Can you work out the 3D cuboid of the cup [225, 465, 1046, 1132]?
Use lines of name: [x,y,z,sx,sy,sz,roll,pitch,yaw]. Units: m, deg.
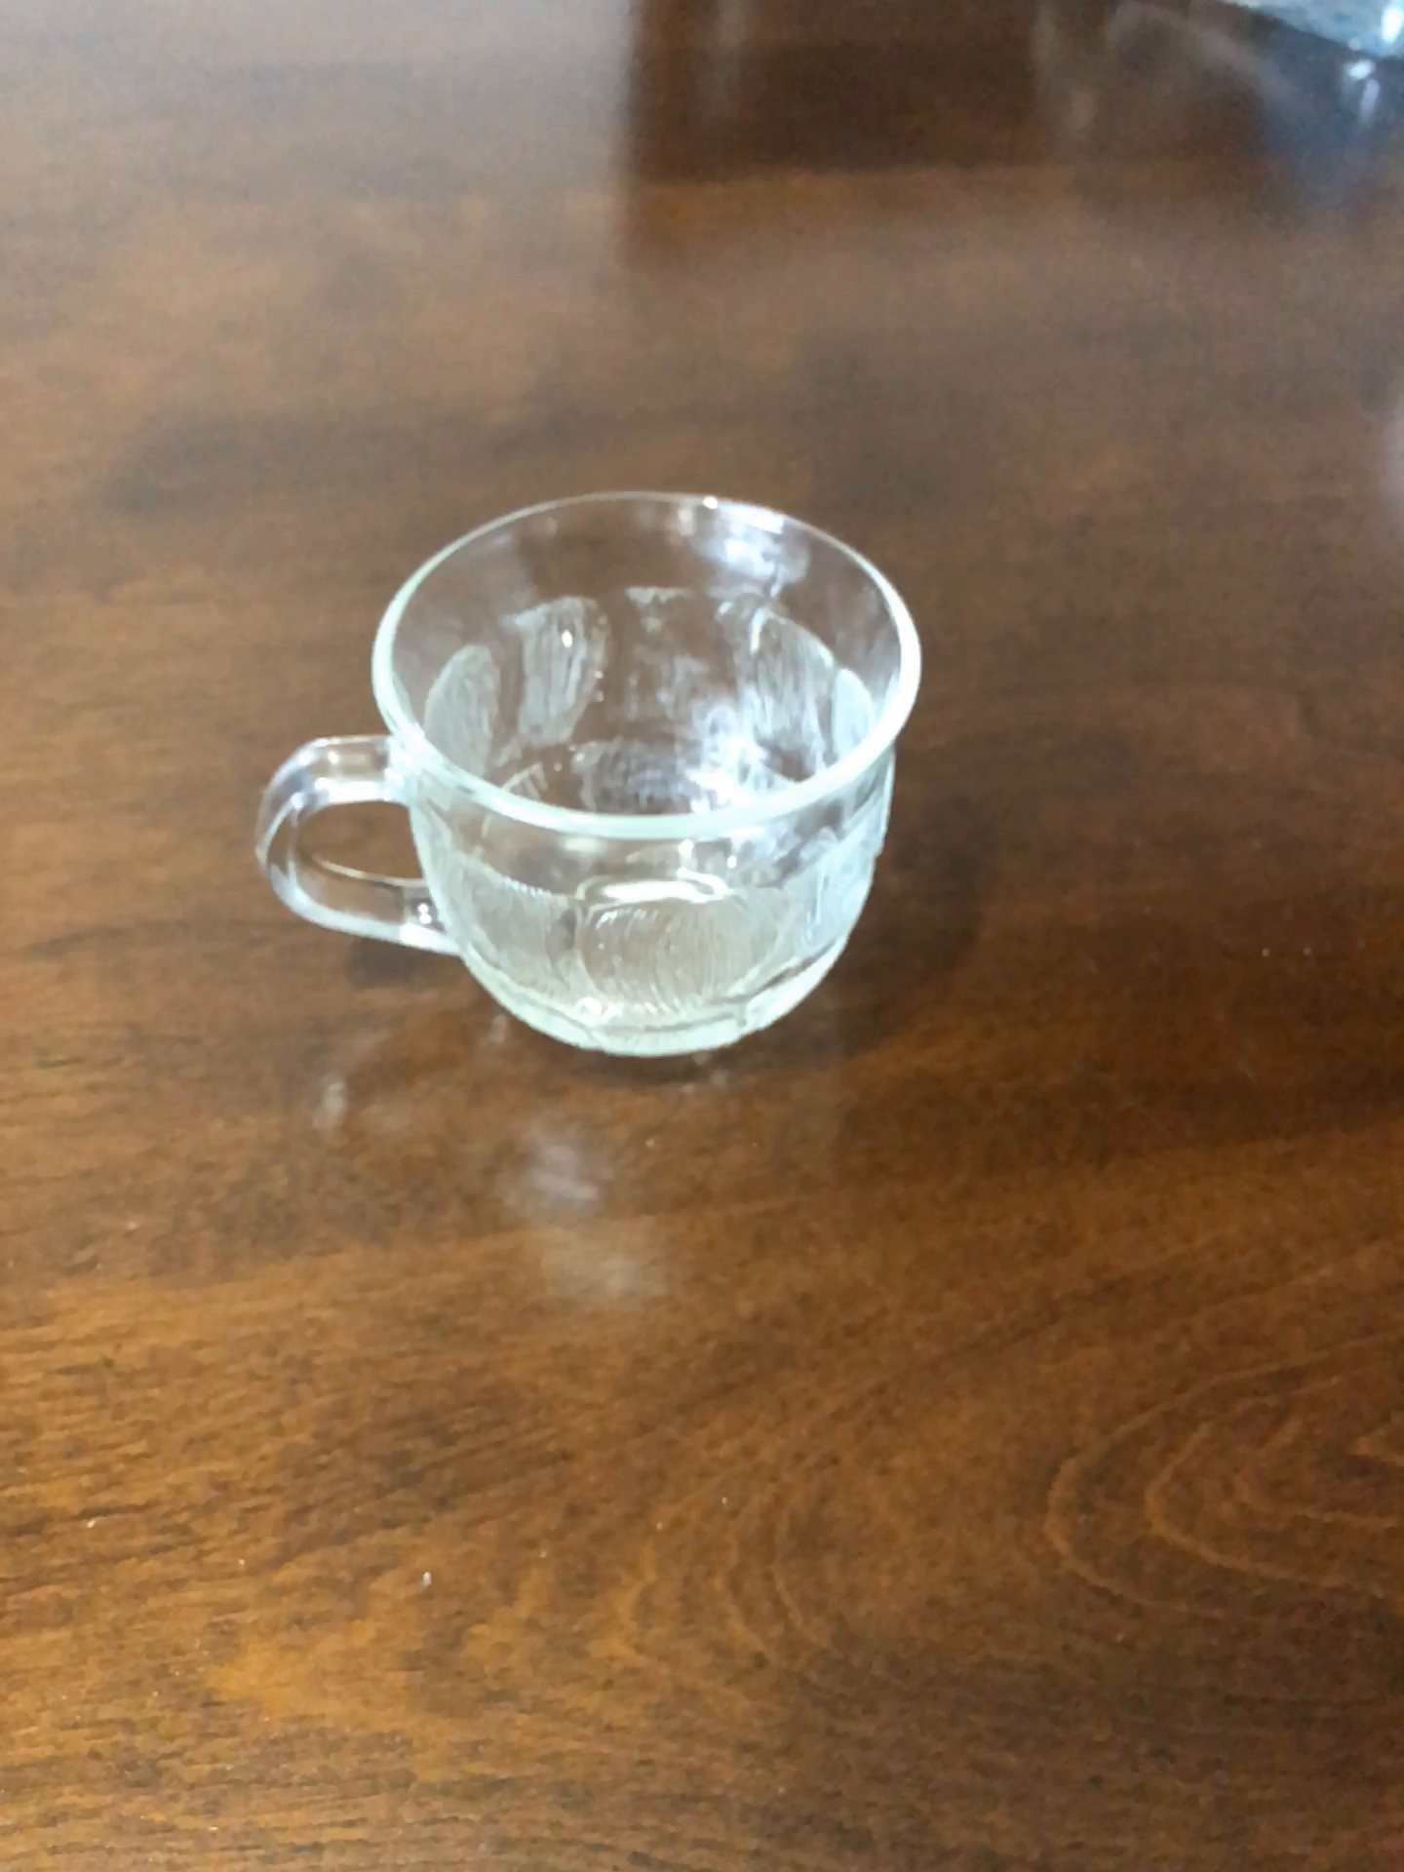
cup: [-0.013,-0.023,0.237,0.100,0.050,0.080,-6,48,-6]
